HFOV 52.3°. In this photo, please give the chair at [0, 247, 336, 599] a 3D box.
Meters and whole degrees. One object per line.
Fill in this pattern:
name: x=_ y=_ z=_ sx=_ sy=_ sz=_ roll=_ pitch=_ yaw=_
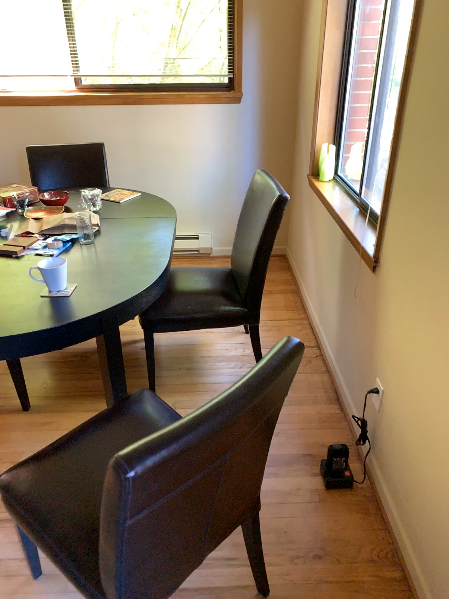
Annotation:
chair: x=-0.207 y=0.540 z=1.216 sx=0.653 sy=1.083 sz=0.621 roll=23 pitch=37 yaw=36
